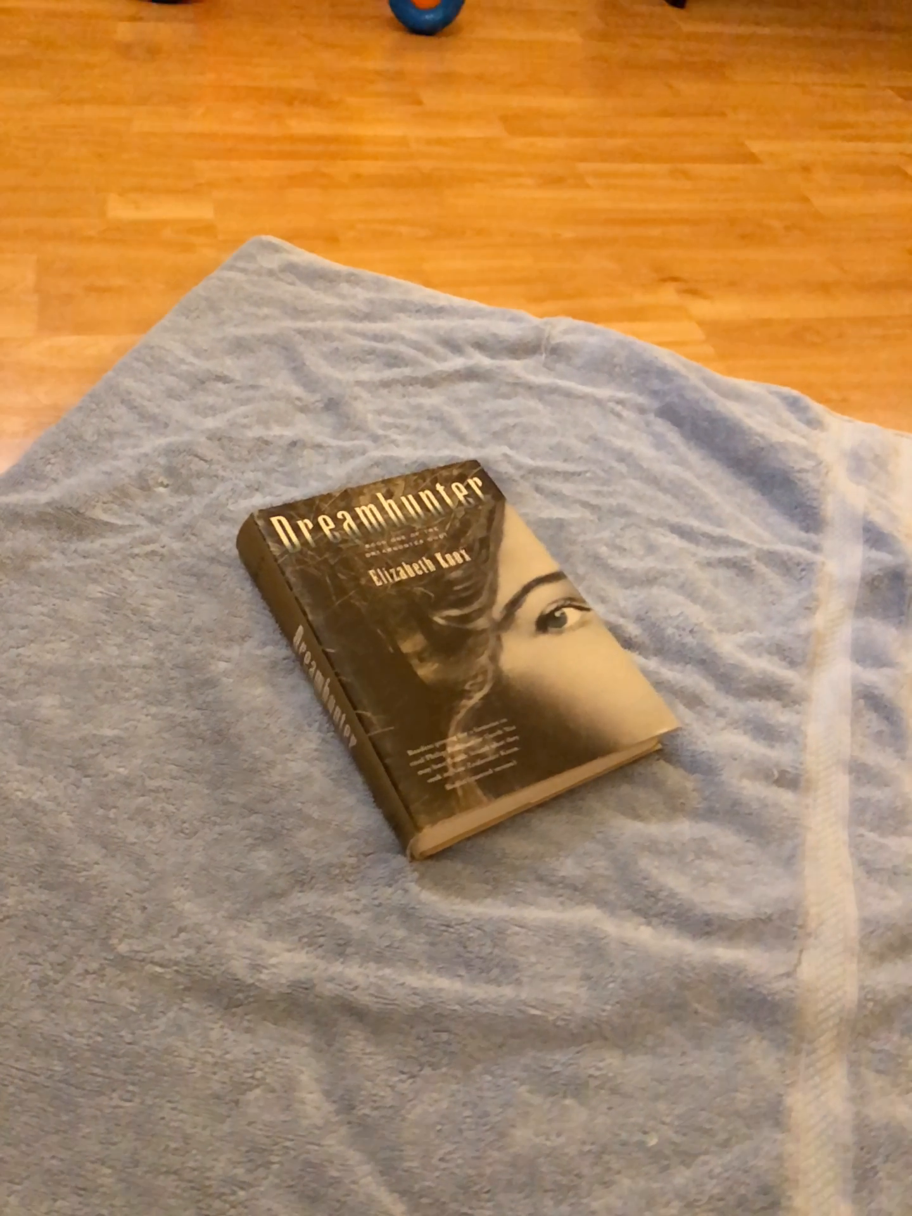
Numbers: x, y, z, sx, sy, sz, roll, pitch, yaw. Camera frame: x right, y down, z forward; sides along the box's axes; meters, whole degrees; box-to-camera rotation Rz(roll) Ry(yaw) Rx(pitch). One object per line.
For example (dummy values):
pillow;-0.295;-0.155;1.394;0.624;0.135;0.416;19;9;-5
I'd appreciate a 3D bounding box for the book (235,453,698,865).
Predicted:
book;-0.004;0.010;0.551;0.164;0.030;0.226;-17;51;-23
